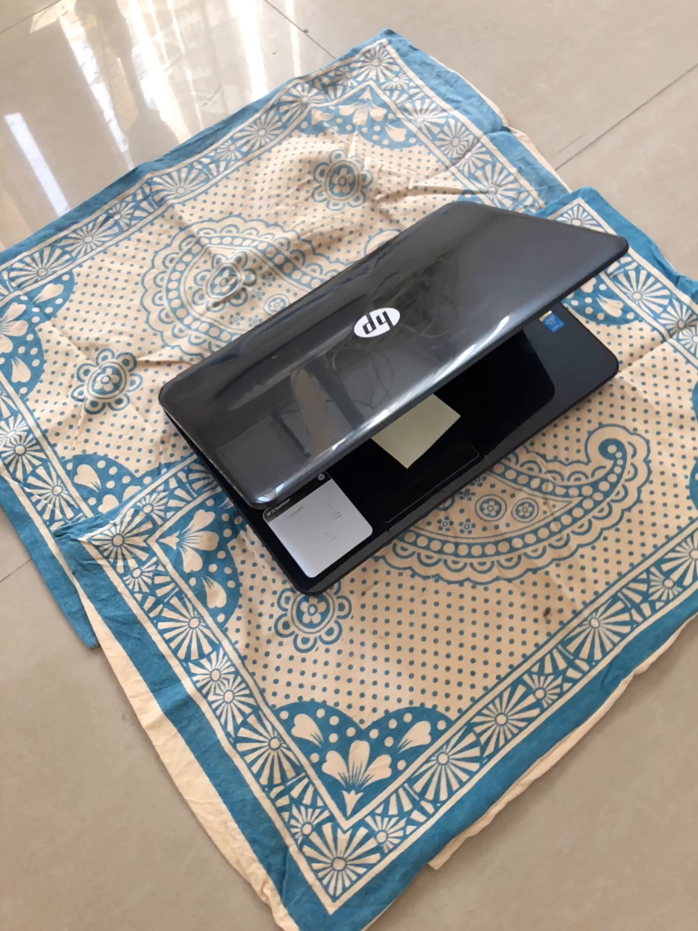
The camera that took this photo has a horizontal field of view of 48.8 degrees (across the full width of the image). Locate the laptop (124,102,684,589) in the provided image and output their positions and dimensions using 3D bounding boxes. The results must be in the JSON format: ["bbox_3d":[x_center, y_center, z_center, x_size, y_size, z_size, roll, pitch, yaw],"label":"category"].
[{"bbox_3d":[0.039,-0.107,0.672,0.363,0.151,0.236,-35,68,-10],"label":"laptop"}]
